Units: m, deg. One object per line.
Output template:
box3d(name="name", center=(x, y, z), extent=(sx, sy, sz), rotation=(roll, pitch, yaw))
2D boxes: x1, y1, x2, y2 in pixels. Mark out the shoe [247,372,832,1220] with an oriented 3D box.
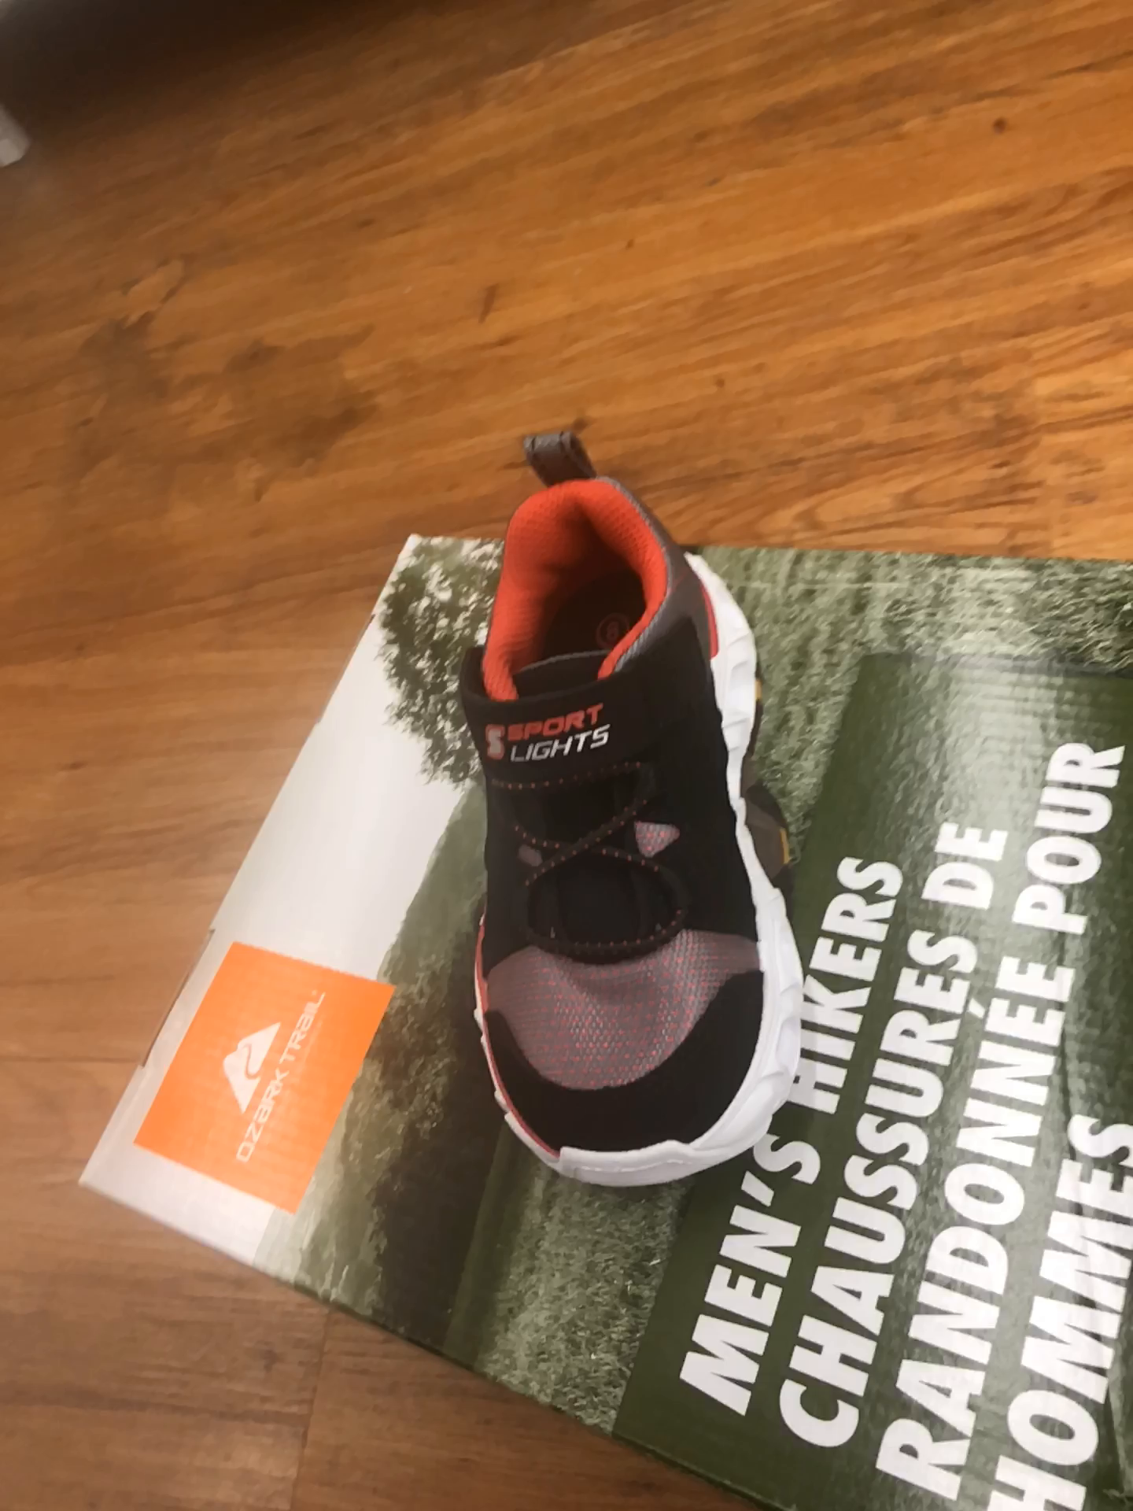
box3d(name="shoe", center=(0.006, 0.012, 0.302), extent=(0.090, 0.090, 0.170), rotation=(-9, 55, 23))
